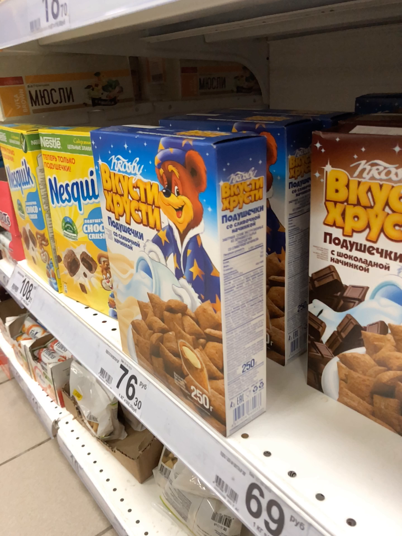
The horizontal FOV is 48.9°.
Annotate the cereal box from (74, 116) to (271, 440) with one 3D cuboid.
[{"bbox_3d":[-0.028,-0.006,0.383,0.050,0.229,0.191,-20,28,-34],"label":"cereal box"}]
